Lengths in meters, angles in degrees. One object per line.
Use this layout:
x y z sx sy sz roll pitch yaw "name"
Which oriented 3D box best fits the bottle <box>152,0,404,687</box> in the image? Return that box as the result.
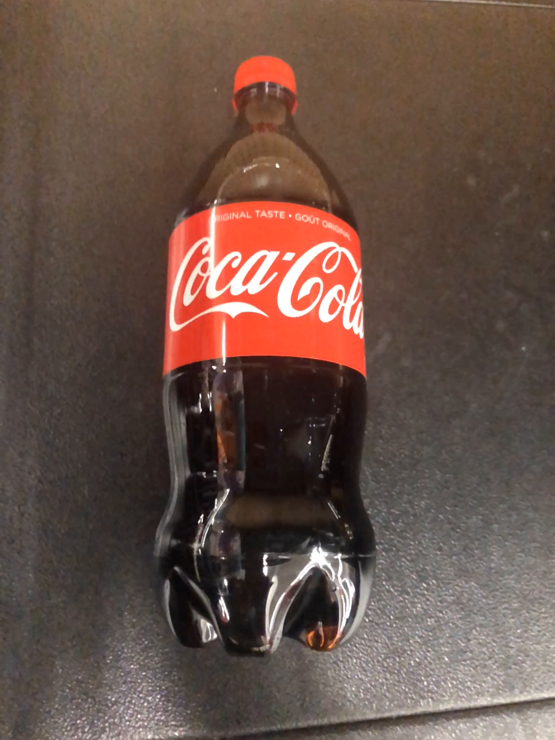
-0.005 -0.018 0.266 0.080 0.080 0.260 1 75 -7 "bottle"
